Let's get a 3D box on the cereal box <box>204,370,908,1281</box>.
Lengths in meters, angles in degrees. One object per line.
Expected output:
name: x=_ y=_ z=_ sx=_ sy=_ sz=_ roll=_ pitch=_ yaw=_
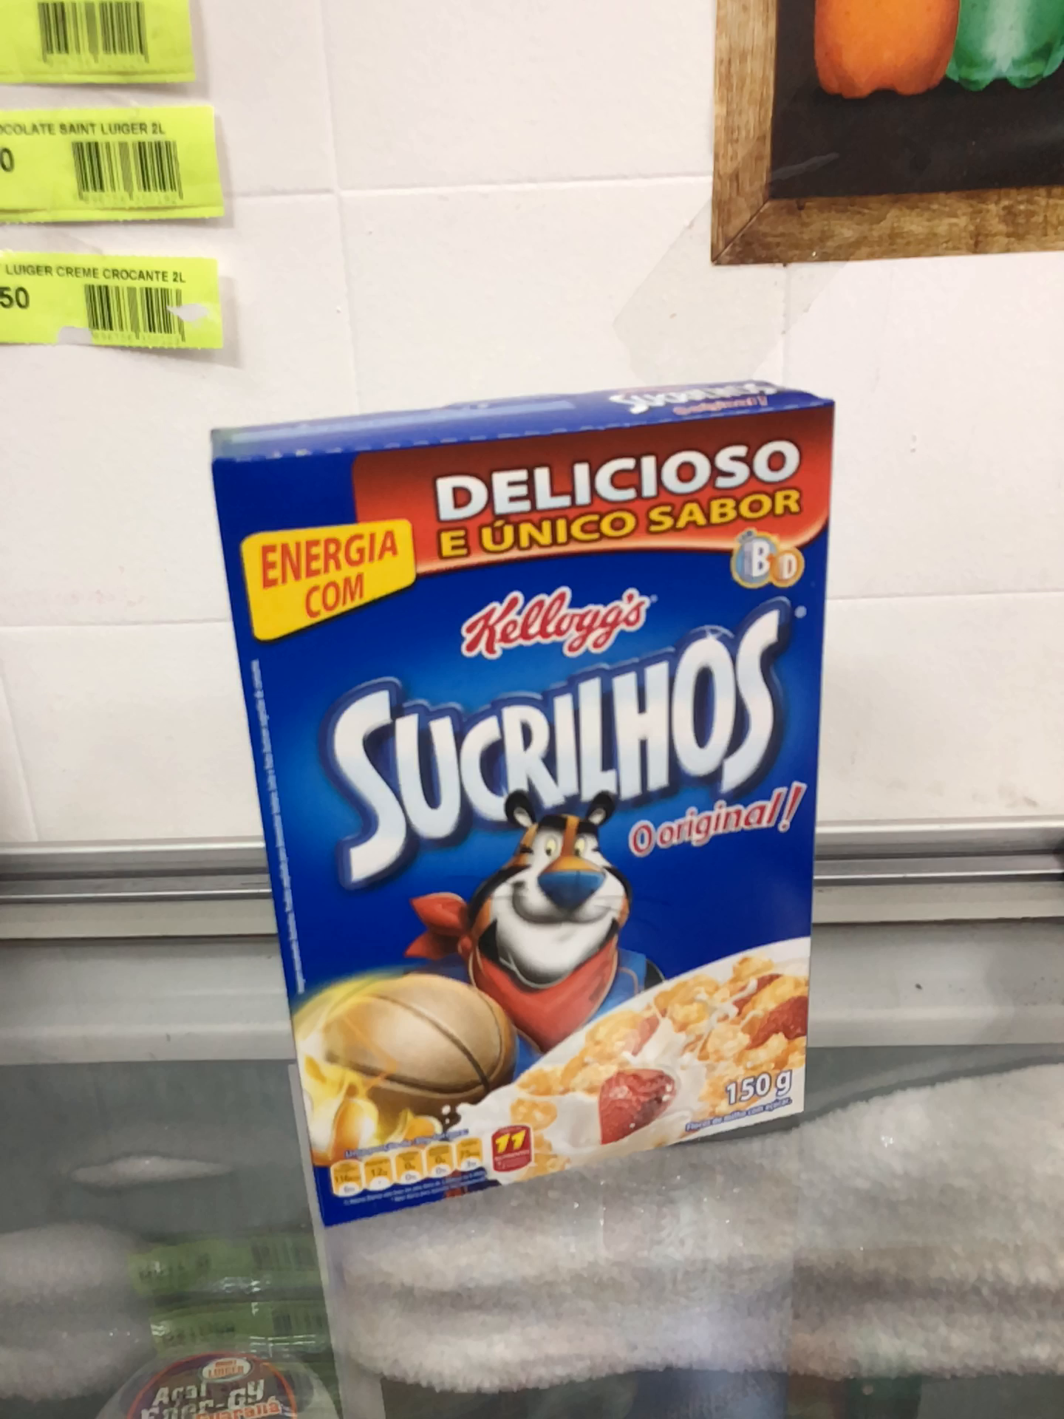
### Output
cereal box: x=0.007 y=0.028 z=0.284 sx=0.140 sy=0.199 sz=0.050 roll=-8 pitch=23 yaw=-13
